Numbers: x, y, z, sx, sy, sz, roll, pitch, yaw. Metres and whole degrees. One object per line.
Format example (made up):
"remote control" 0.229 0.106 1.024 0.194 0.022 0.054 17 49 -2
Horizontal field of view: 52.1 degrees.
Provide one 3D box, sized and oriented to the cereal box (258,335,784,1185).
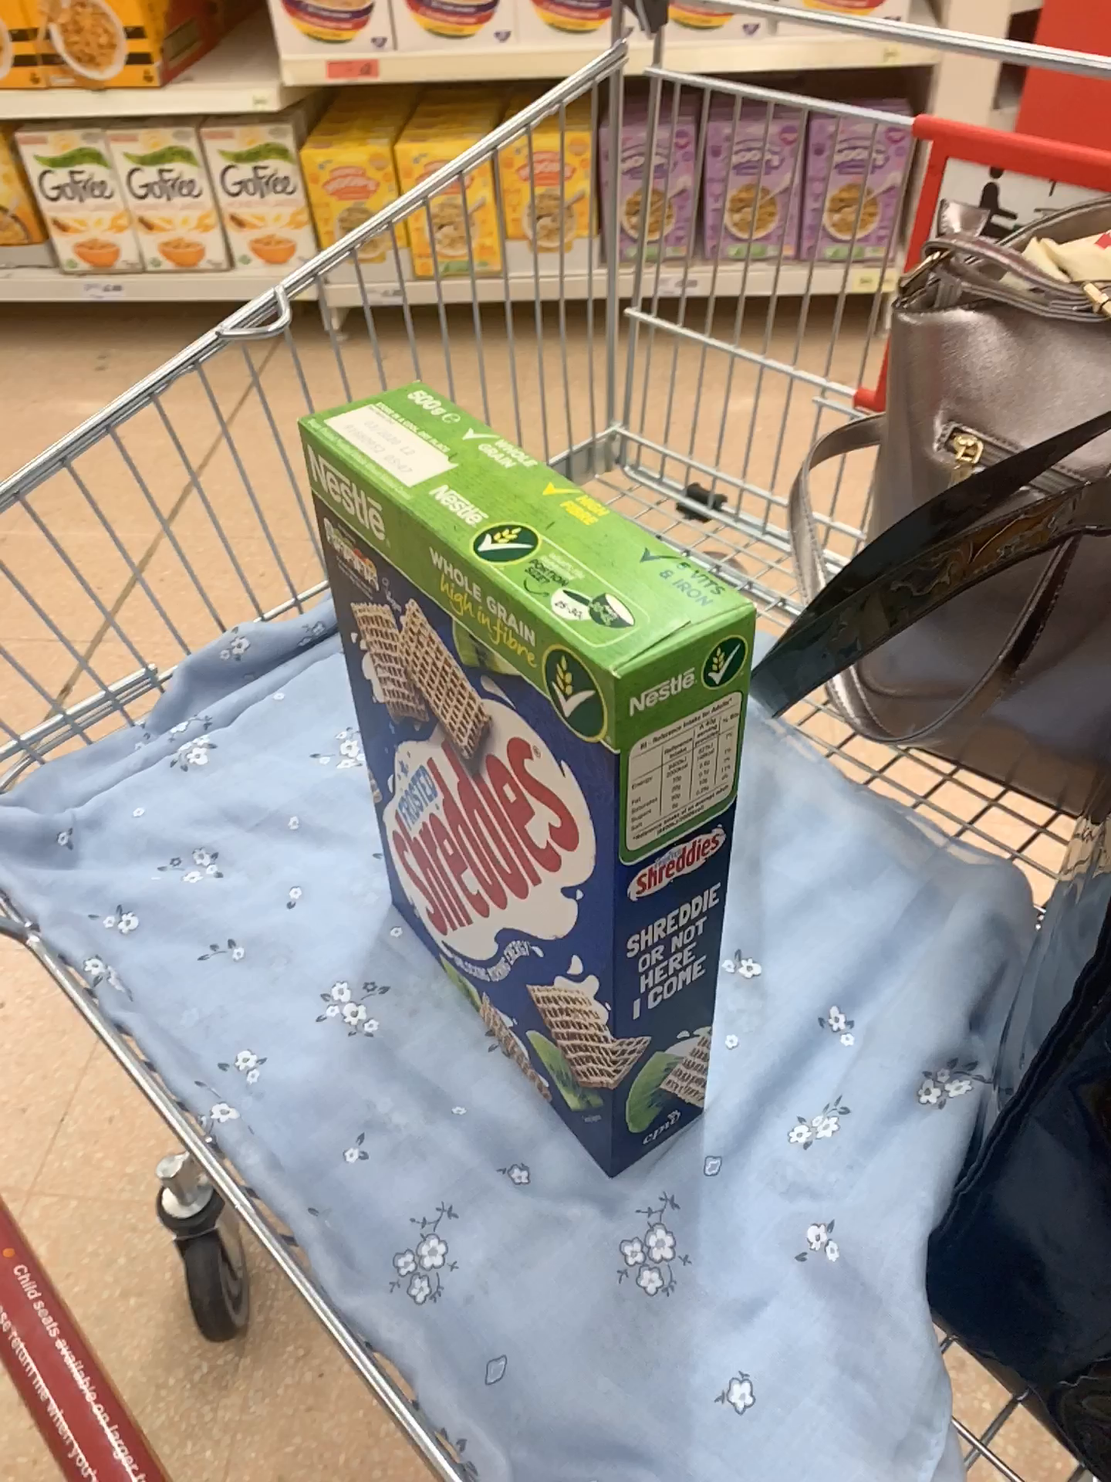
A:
"cereal box" -0.016 0.018 0.456 0.060 0.287 0.201 -29 49 -24
